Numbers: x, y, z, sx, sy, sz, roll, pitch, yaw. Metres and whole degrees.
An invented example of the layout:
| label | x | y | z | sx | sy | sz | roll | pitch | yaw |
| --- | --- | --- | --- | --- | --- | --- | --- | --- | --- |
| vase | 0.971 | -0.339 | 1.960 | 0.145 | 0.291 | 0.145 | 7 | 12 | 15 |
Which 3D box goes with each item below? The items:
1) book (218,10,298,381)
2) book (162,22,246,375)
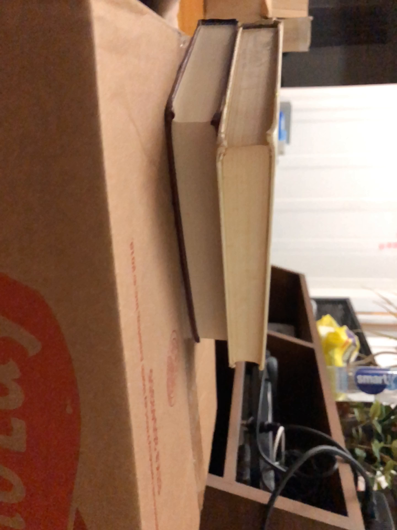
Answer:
| label | x | y | z | sx | sy | sz | roll | pitch | yaw |
| --- | --- | --- | --- | --- | --- | --- | --- | --- | --- |
| book | 0.046 | -0.046 | 0.375 | 0.250 | 0.040 | 0.180 | 85 | 9 | -48 |
| book | 0.016 | -0.050 | 0.394 | 0.250 | 0.040 | 0.180 | 86 | 9 | -45 |
